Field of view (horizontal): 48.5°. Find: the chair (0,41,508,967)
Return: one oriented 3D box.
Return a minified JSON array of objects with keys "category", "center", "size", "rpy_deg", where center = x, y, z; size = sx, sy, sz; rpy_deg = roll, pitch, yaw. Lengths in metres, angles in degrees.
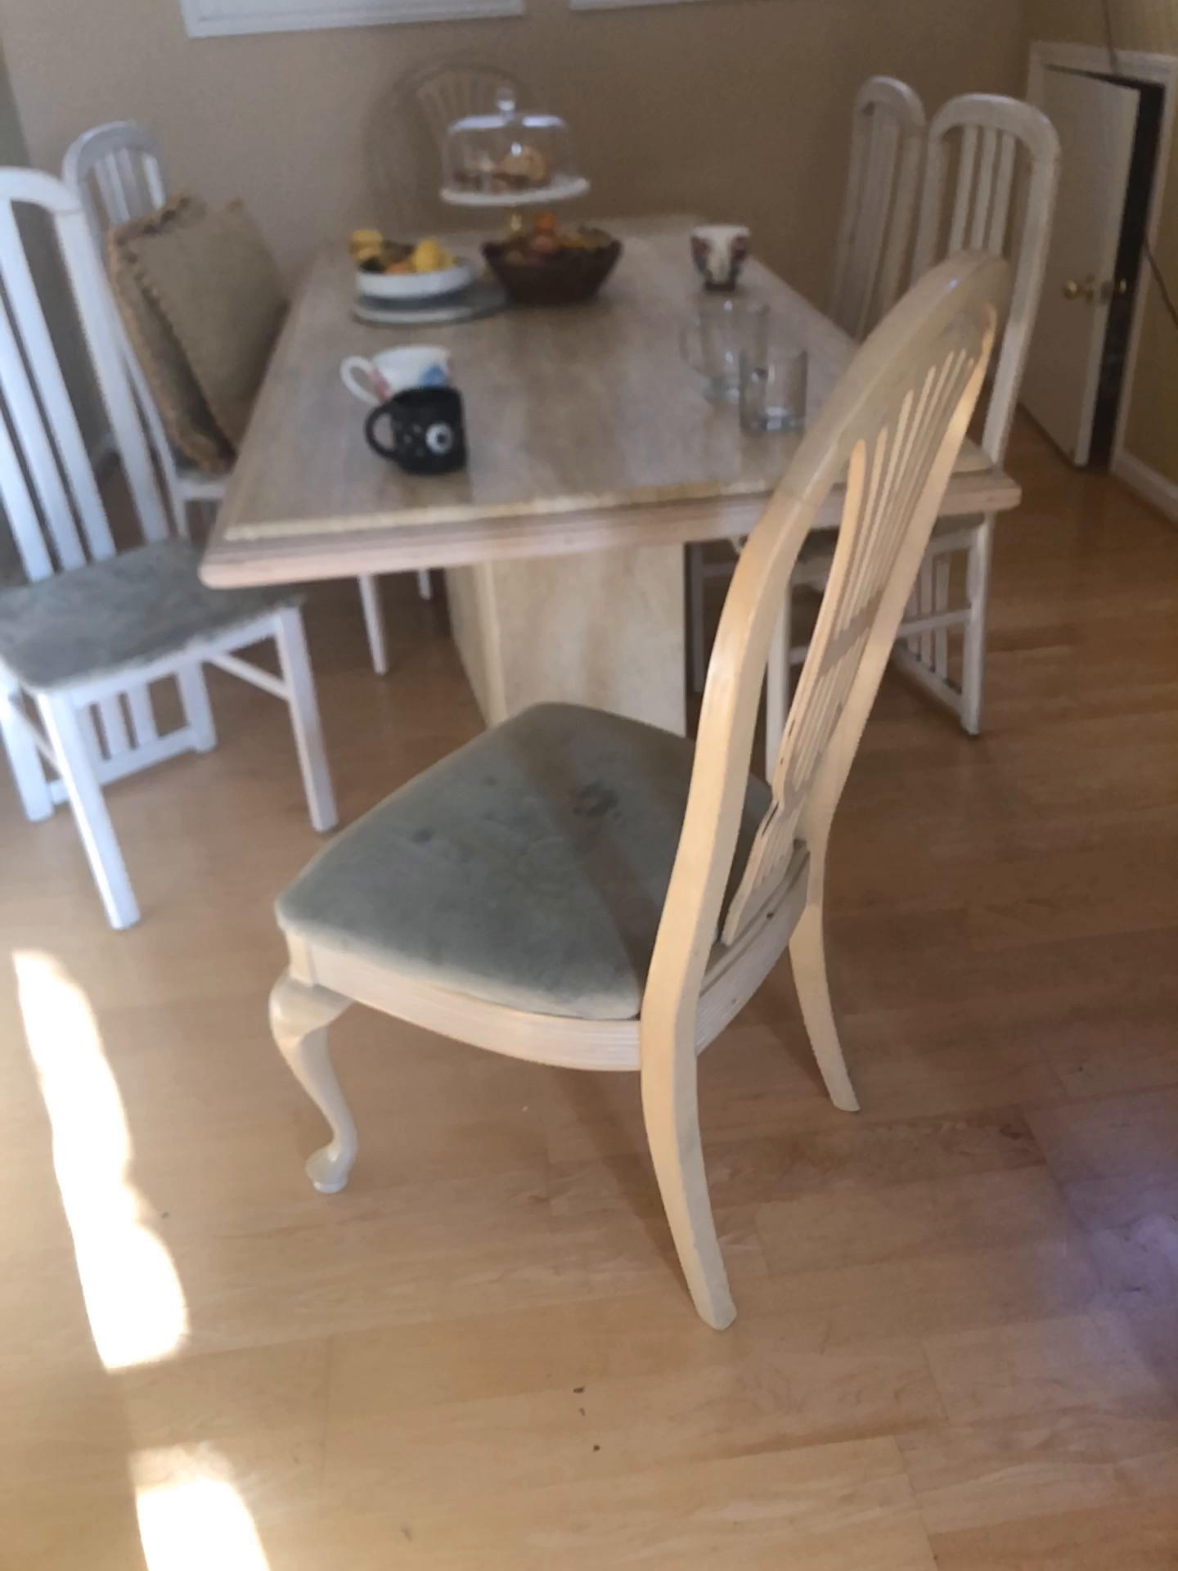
[{"category":"chair","center":[-0.686,-0.526,2.456],"size":[0.633,1.448,0.672],"rpy_deg":[-26,36,-30]}]

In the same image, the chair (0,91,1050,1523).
[{"category":"chair","center":[-0.017,0.025,1.410],"size":[0.631,1.289,0.595],"rpy_deg":[19,39,28]}]
